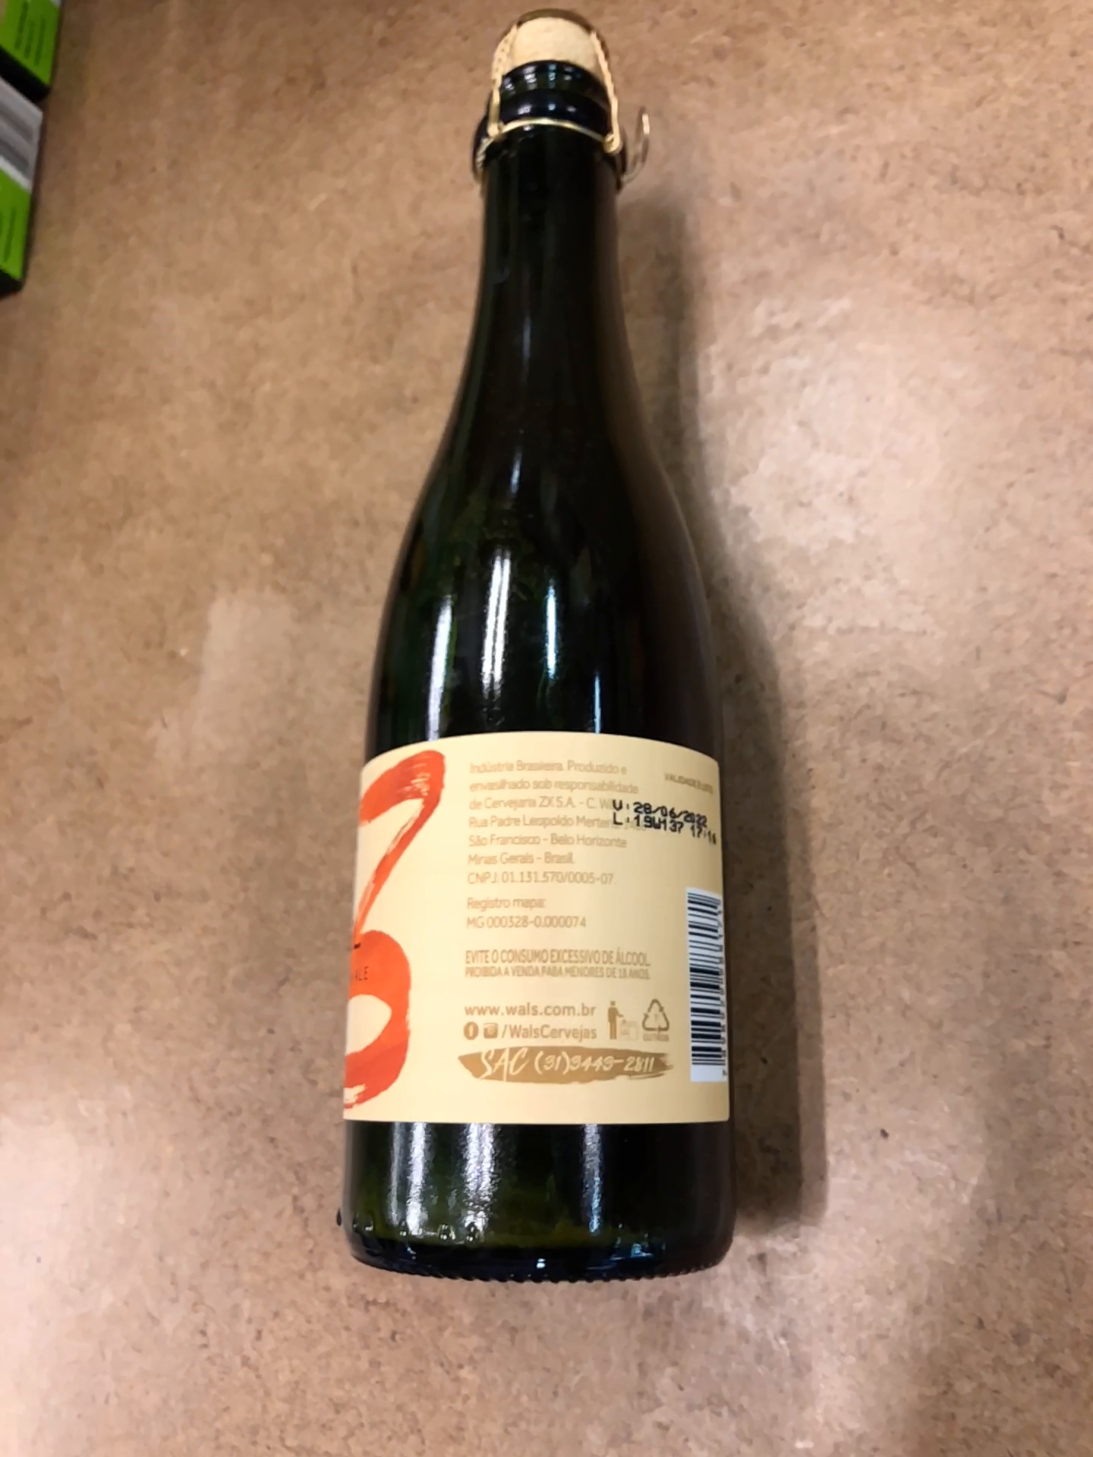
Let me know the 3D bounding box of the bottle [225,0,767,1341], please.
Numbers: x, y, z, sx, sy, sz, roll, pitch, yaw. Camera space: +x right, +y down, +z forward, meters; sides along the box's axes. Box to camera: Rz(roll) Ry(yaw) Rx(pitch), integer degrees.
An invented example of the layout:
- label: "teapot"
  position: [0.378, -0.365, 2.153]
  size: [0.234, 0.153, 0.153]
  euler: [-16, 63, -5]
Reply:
- label: "bottle"
  position: [-0.004, -0.041, 0.231]
  size: [0.070, 0.050, 0.270]
  euler: [-7, 72, 23]
